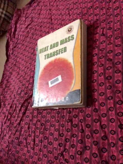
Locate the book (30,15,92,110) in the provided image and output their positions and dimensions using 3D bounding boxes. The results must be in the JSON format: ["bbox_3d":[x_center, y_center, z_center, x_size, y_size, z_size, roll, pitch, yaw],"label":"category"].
[{"bbox_3d":[-0.004,-0.046,0.407,0.186,0.039,0.249,-11,68,38],"label":"book"}]
